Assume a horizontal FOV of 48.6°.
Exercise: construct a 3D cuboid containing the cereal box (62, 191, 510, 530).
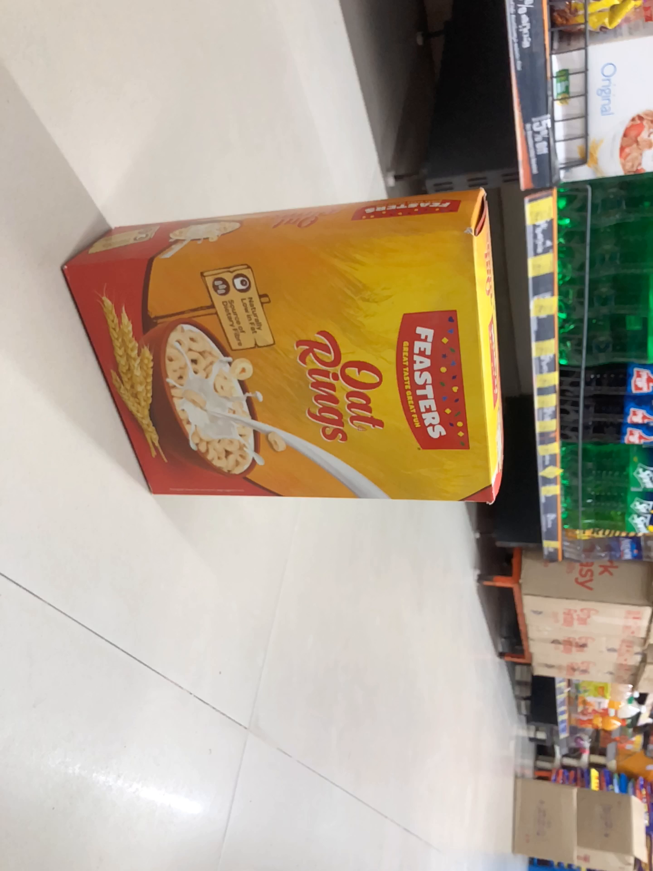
[{"bbox_3d":[-0.011,-0.035,0.424,0.070,0.219,0.170,-67,151,-54],"label":"cereal box"}]
